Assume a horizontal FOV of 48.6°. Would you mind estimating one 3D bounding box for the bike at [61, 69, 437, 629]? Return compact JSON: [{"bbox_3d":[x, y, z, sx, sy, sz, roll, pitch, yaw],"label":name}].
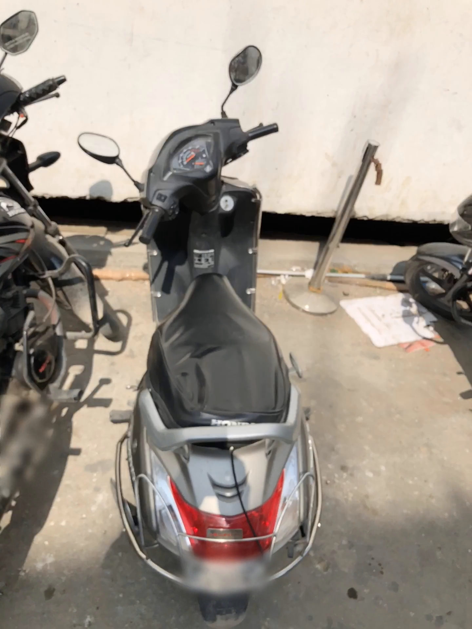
[{"bbox_3d":[-0.121,0.005,1.749,0.616,1.107,1.507,6,37,-11],"label":"bike"}]
